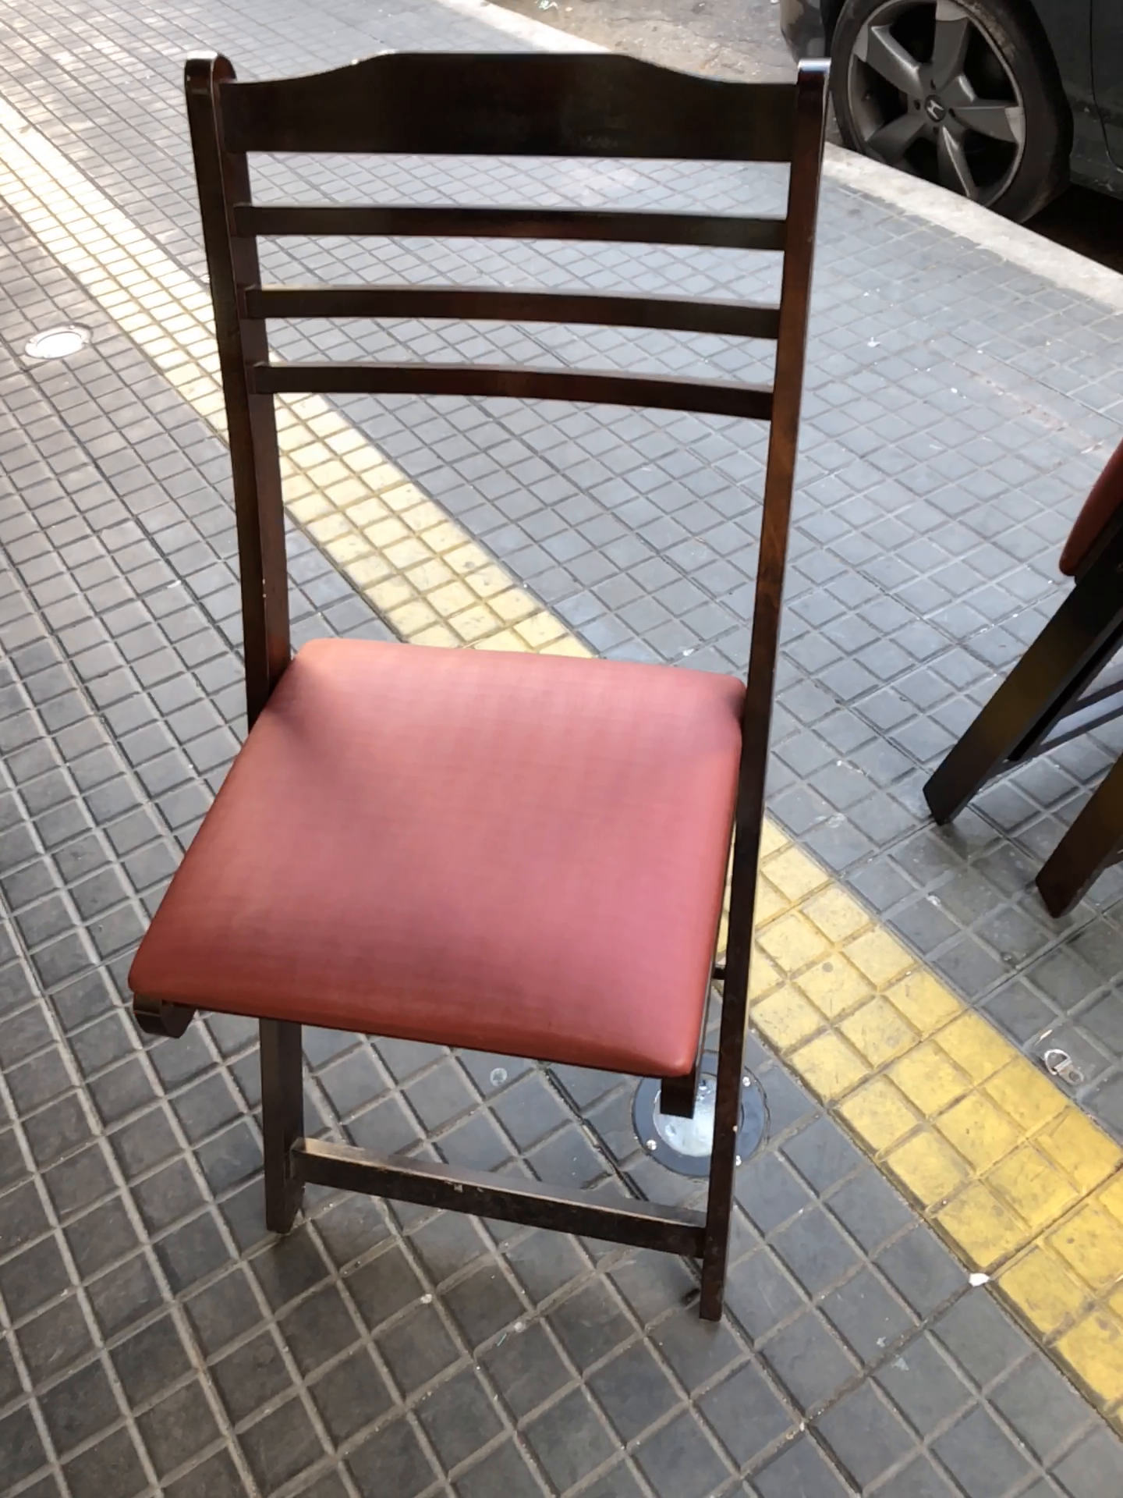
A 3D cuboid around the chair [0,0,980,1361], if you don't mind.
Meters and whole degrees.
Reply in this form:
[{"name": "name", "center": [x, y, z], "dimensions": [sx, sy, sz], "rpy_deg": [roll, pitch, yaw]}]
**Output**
[{"name": "chair", "center": [-0.043, -0.002, 0.870], "dimensions": [0.510, 0.845, 0.483], "rpy_deg": [6, 49, 12]}]
